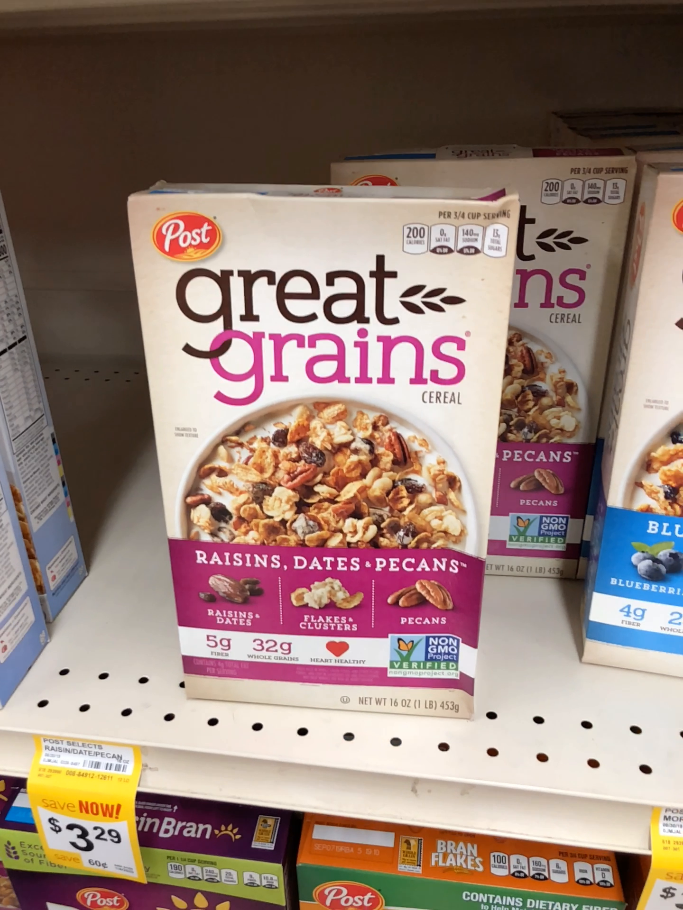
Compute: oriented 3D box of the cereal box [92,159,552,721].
[{"bbox_3d":[-0.006,0.005,0.362,0.170,0.269,0.050,2,28,6],"label":"cereal box"}]
